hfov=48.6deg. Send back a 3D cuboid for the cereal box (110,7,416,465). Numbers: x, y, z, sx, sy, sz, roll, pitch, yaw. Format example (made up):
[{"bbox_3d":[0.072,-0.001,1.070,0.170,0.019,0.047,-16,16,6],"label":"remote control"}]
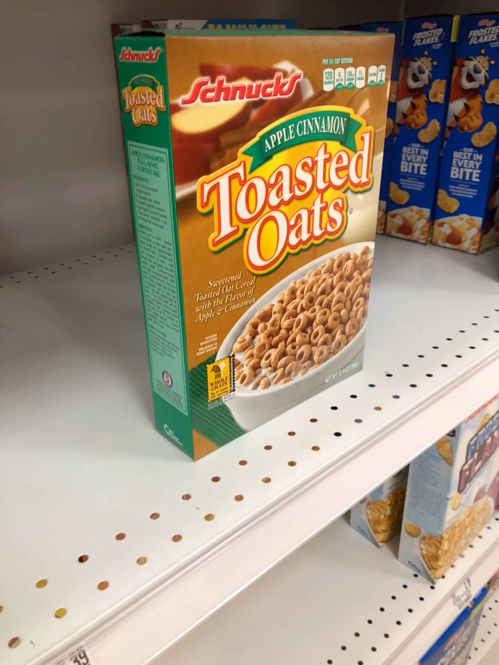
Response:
[{"bbox_3d":[0.021,-0.073,0.411,0.210,0.279,0.060,-22,34,-37],"label":"cereal box"}]
